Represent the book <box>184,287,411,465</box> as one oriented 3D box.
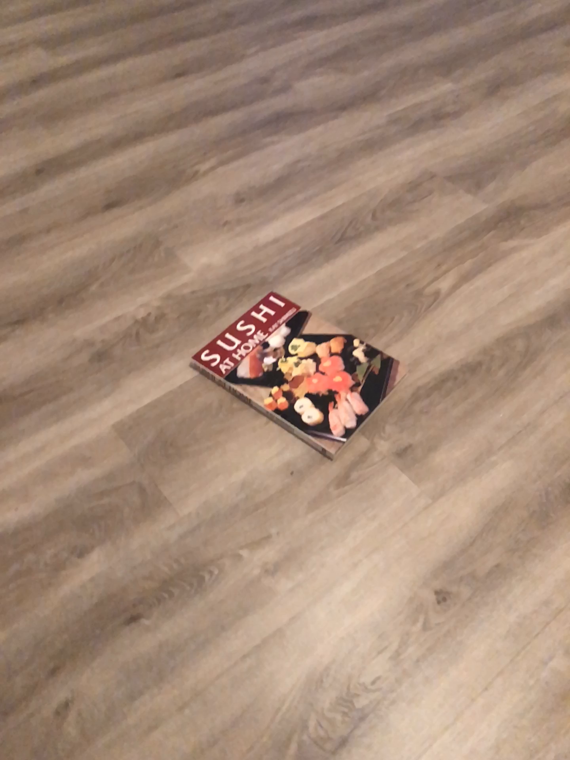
[{"bbox_3d":[0.017,-0.018,0.901,0.258,0.030,0.191,31,57,24],"label":"book"}]
